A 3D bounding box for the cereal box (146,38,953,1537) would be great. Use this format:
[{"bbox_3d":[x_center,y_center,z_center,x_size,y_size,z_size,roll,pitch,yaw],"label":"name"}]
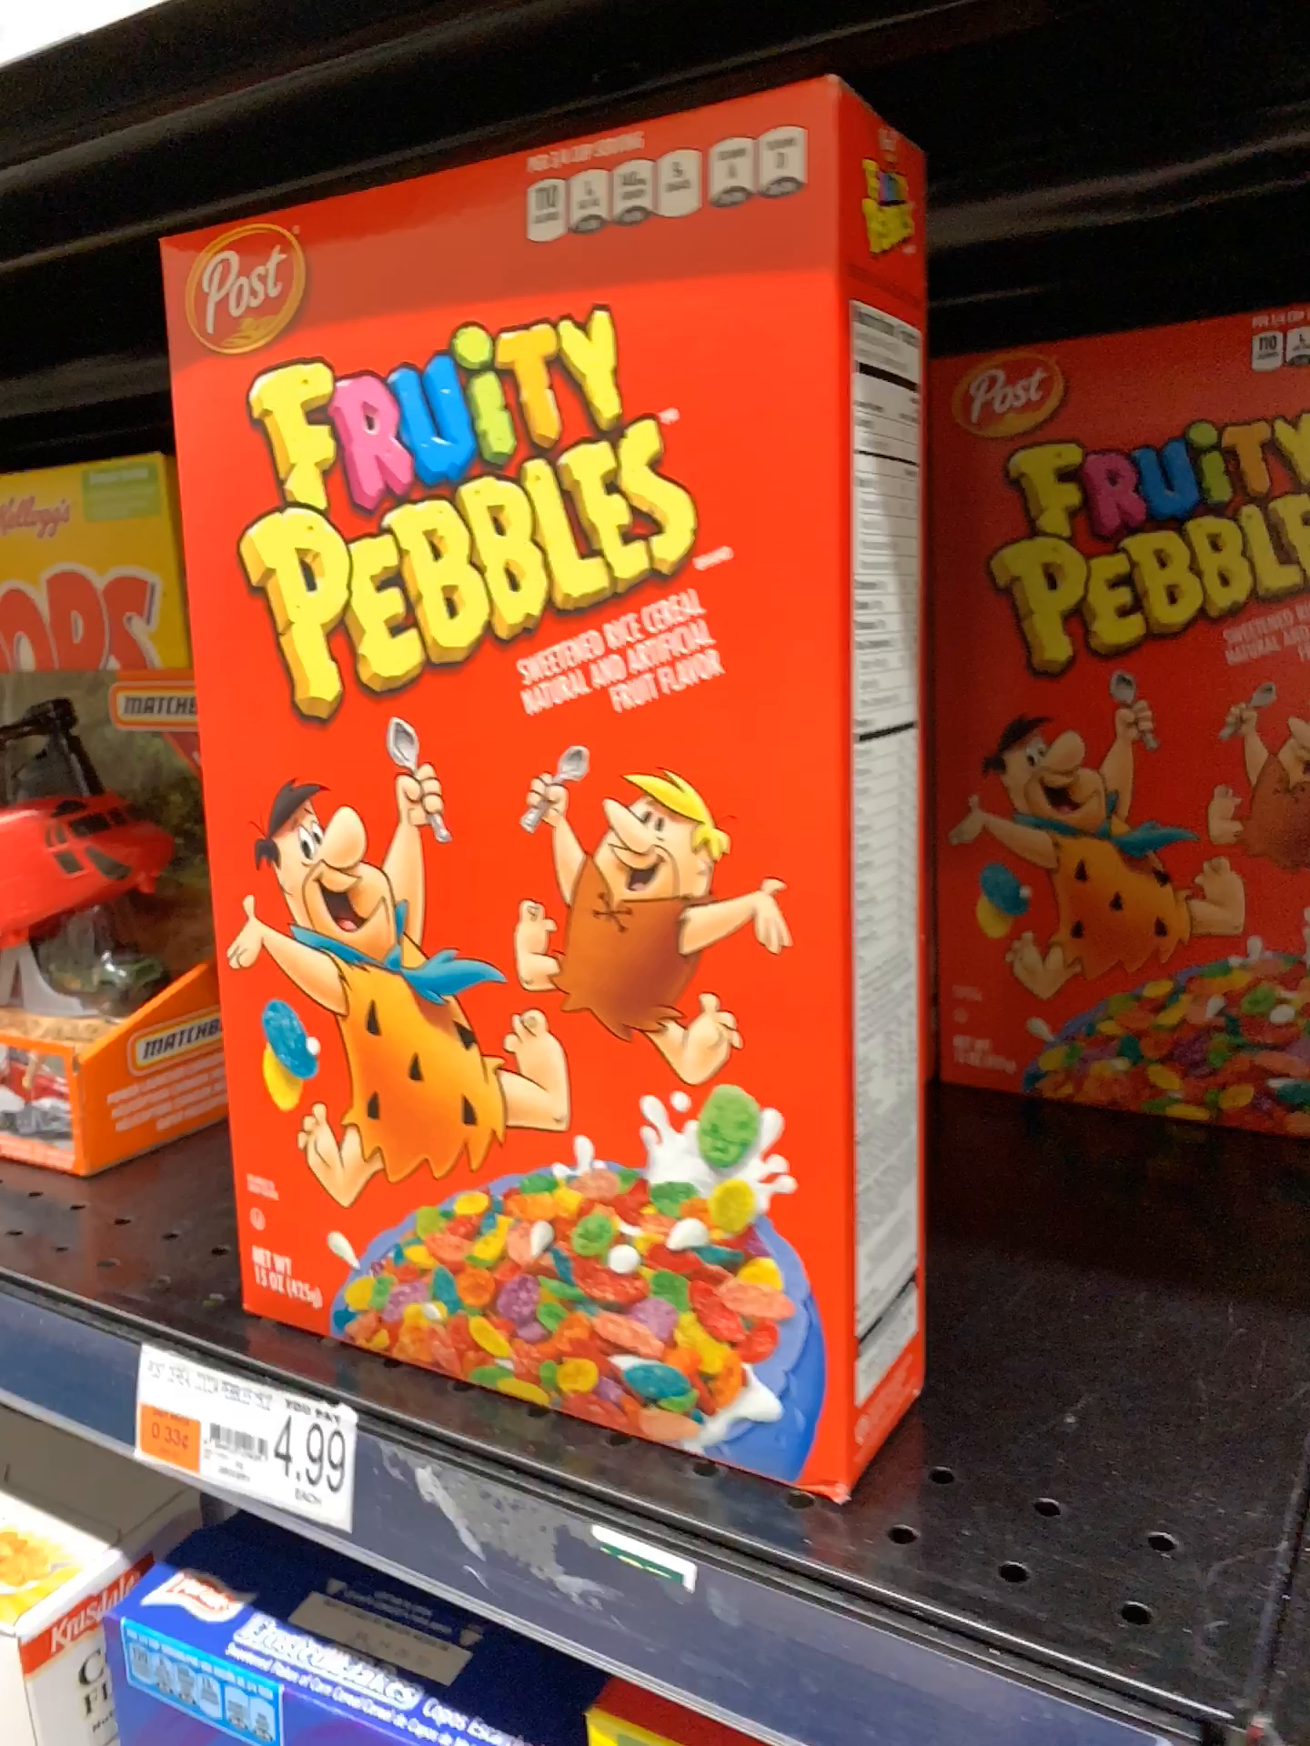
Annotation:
[{"bbox_3d":[-0.029,-0.015,0.355,0.200,0.309,0.060,4,11,32],"label":"cereal box"}]
